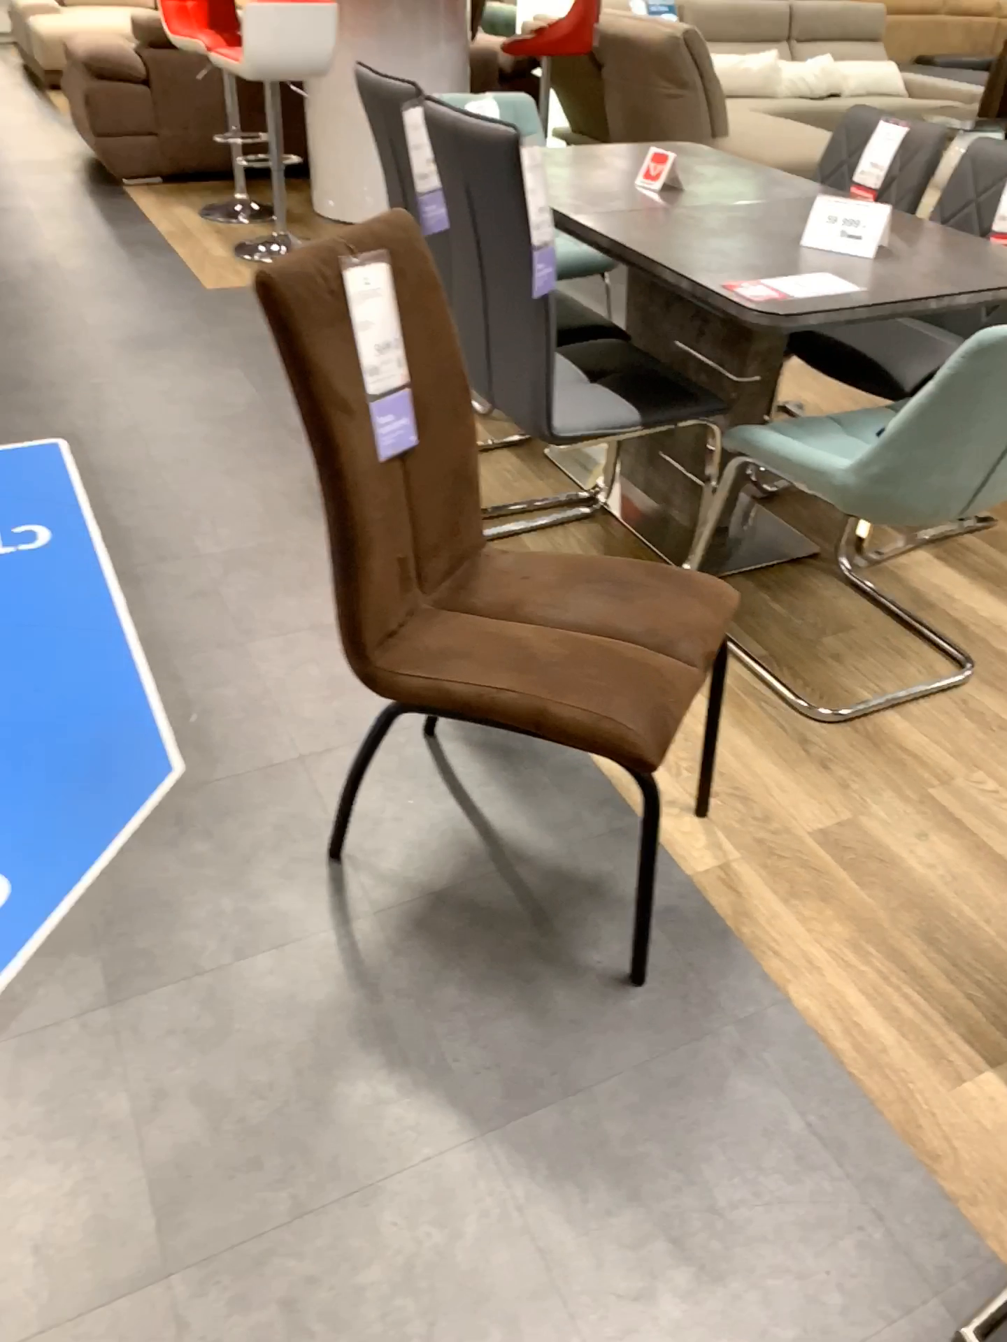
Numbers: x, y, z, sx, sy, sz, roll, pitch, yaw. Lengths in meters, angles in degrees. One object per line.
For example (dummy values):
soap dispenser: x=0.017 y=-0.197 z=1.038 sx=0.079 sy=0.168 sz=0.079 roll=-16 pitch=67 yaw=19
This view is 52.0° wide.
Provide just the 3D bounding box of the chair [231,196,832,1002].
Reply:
chair: x=0.036 y=-0.093 z=1.505 sx=0.590 sy=0.965 sz=0.442 roll=16 pitch=38 yaw=17
